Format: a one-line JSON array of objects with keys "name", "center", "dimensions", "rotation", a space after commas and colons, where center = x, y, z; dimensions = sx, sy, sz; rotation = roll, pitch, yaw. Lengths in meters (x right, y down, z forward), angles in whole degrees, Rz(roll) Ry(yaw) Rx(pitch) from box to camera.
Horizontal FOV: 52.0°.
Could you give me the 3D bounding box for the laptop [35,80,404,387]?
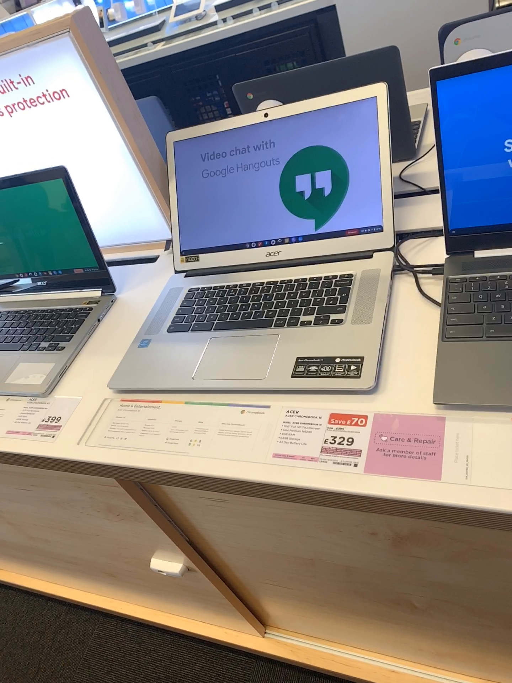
[{"name": "laptop", "center": [-0.011, -0.157, 0.750], "dimensions": [0.375, 0.168, 0.433], "rotation": [-2, 45, 24]}]
